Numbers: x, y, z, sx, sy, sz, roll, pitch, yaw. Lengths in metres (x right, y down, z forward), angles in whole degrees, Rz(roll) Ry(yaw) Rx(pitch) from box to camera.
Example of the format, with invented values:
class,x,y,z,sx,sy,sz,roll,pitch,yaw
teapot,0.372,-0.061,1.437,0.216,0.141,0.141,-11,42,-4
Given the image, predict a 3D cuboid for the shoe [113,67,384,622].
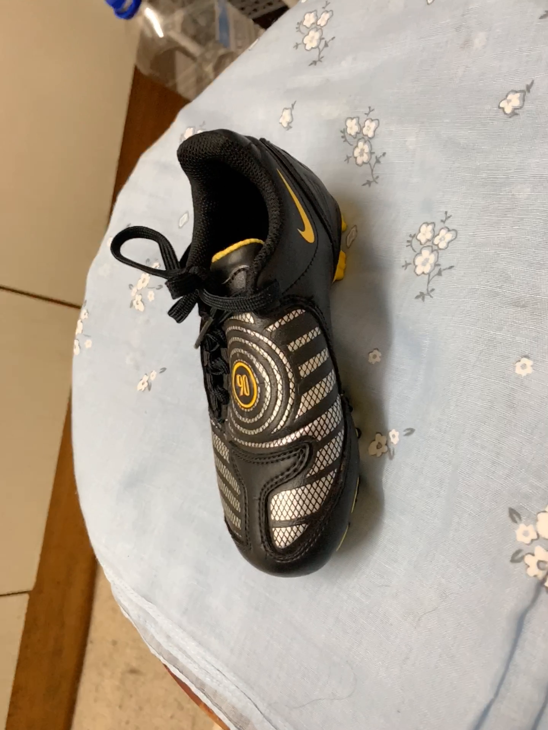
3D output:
class,x,y,z,sx,sy,sz,roll,pitch,yaw
shoe,-0.006,-0.006,0.241,0.080,0.070,0.190,-7,76,39
